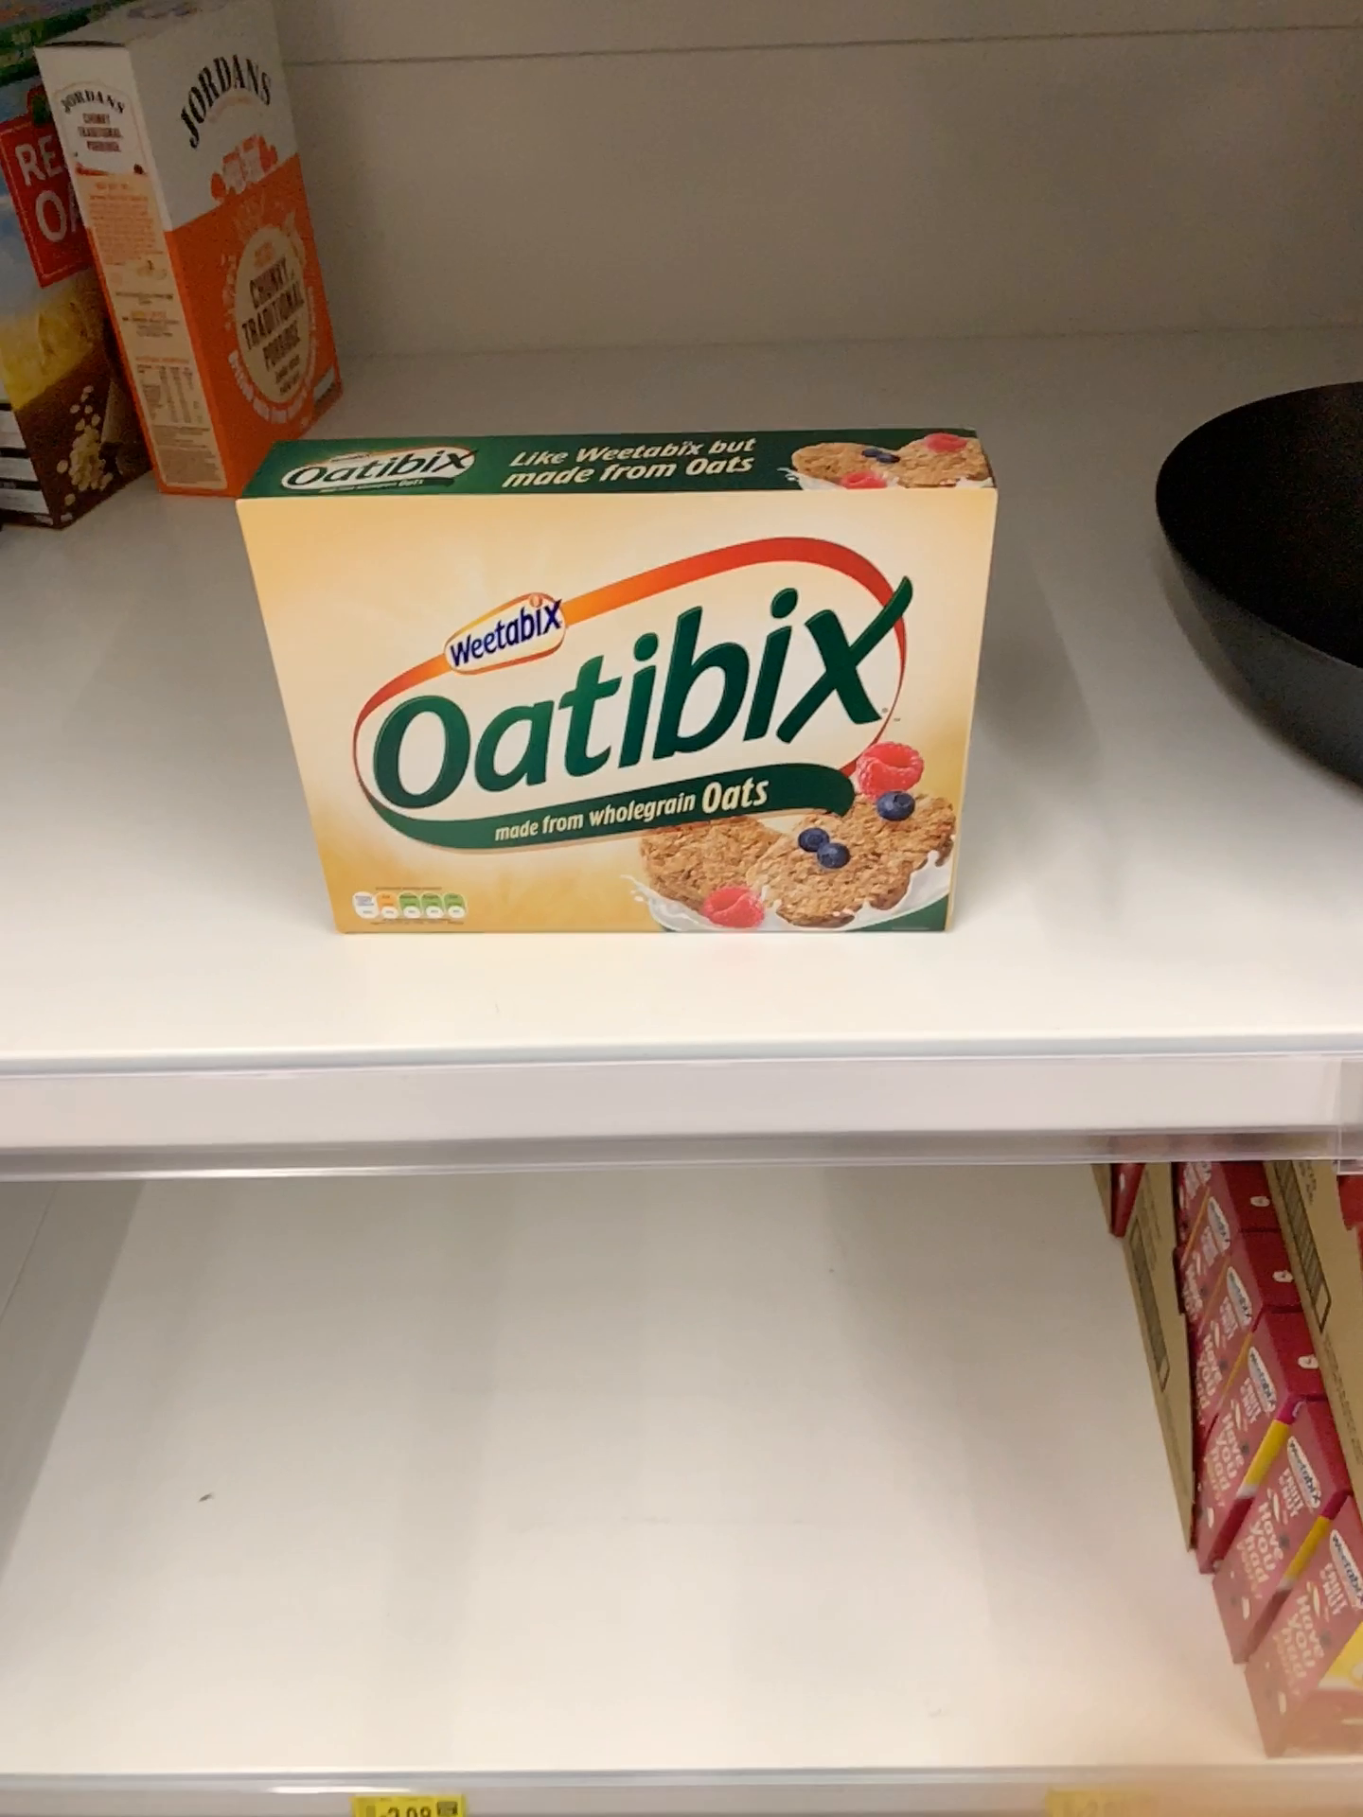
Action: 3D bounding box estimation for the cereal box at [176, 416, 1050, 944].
[{"bbox_3d":[-0.019,-0.077,0.515,0.270,0.178,0.071,0,41,3],"label":"cereal box"}]
